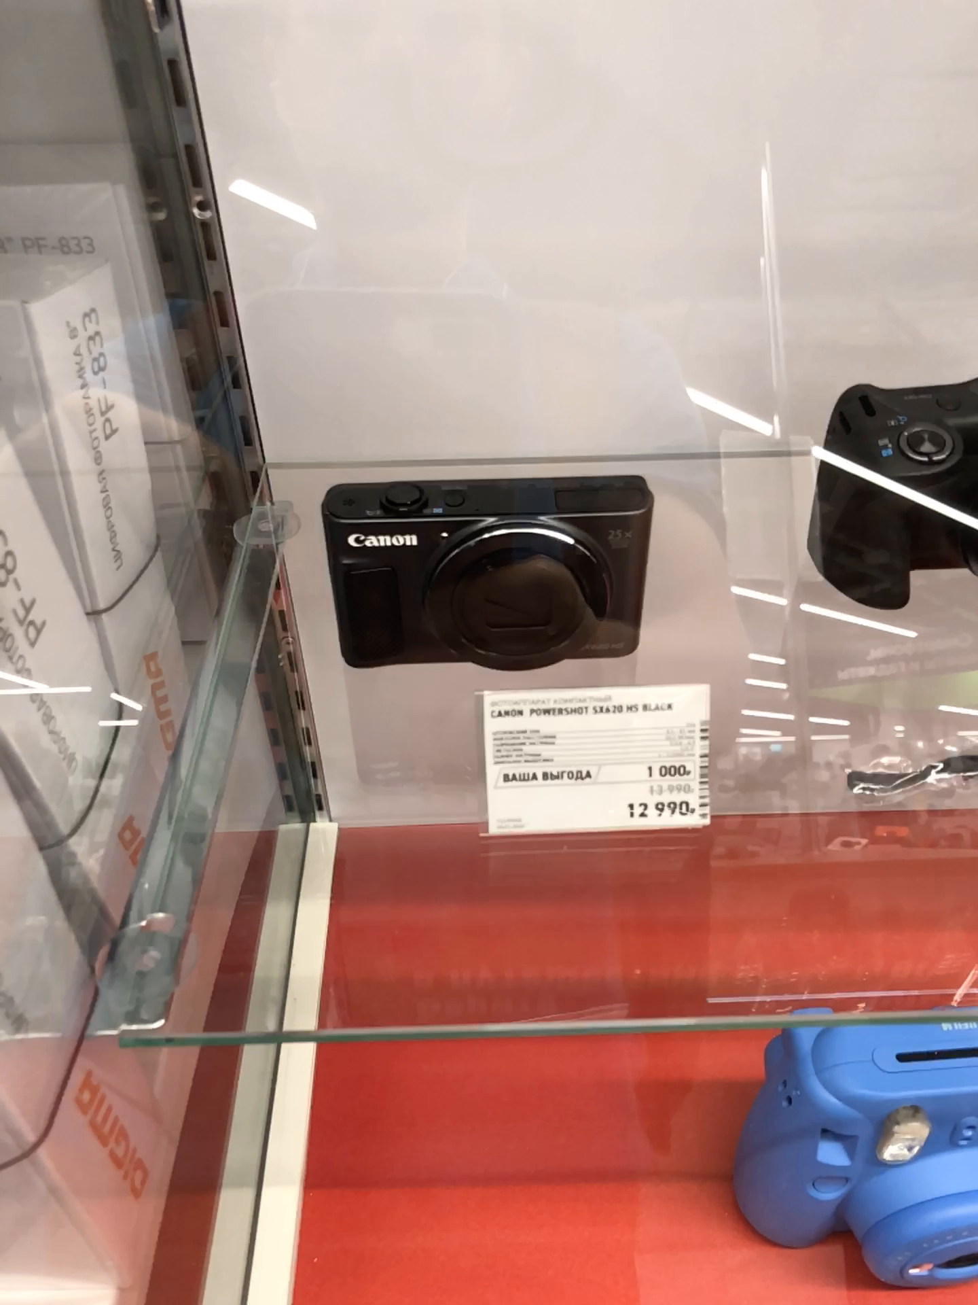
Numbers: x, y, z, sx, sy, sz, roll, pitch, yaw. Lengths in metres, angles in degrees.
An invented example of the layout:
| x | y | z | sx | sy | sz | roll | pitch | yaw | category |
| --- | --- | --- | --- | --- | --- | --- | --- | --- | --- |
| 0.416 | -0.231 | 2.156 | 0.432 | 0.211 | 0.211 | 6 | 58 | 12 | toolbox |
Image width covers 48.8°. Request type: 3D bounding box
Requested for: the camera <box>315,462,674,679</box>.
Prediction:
| x | y | z | sx | sy | sz | roll | pitch | yaw | category |
| --- | --- | --- | --- | --- | --- | --- | --- | --- | --- |
| 0.002 | -0.024 | 0.323 | 0.098 | 0.055 | 0.030 | -2 | 41 | 0 | camera |
